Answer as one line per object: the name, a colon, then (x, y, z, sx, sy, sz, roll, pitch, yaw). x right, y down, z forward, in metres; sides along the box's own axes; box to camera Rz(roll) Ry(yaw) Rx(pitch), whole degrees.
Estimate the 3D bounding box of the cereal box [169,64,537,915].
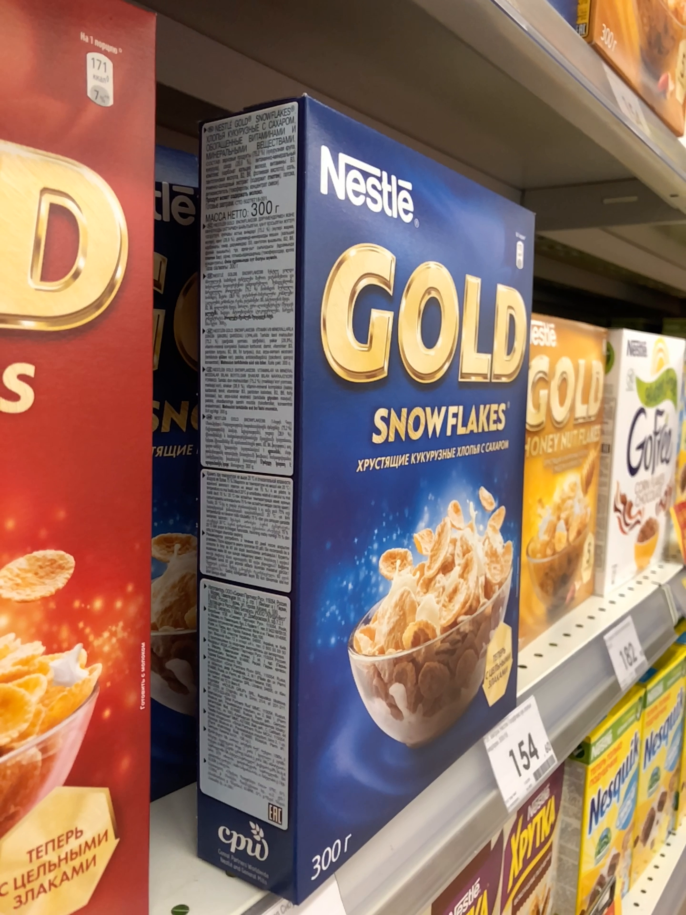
cereal box: (0.019, 0.011, 0.327, 0.050, 0.270, 0.200, 4, 6, 34)
